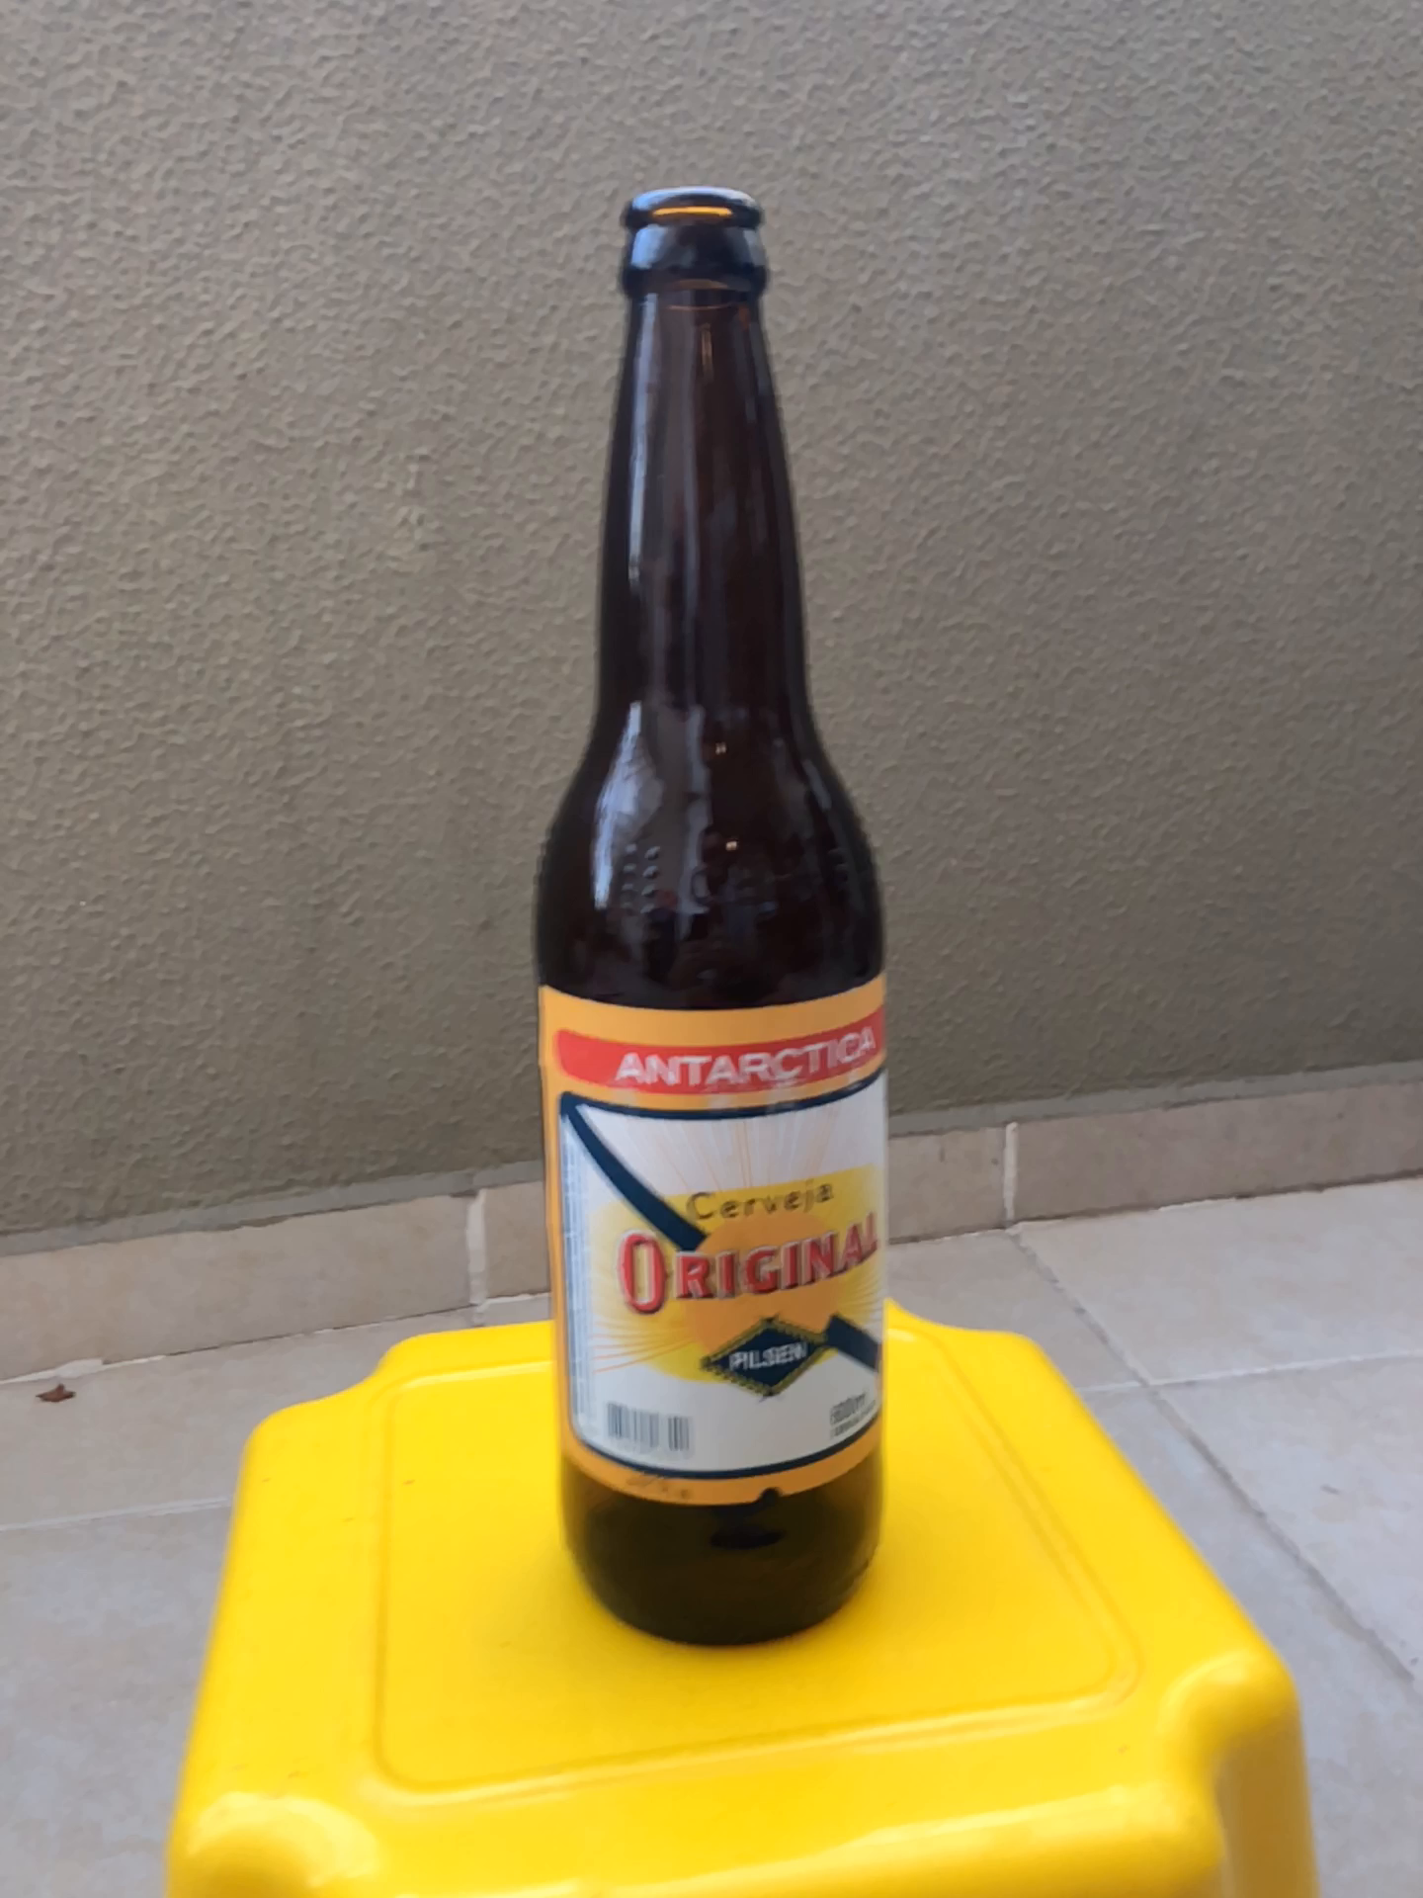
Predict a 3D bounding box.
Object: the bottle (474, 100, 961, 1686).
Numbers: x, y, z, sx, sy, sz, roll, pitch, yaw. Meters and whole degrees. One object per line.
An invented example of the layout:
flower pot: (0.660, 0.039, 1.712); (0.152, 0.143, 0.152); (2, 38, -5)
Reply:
bottle: (-0.002, -0.005, 0.326); (0.080, 0.289, 0.080); (-1, 13, 0)
